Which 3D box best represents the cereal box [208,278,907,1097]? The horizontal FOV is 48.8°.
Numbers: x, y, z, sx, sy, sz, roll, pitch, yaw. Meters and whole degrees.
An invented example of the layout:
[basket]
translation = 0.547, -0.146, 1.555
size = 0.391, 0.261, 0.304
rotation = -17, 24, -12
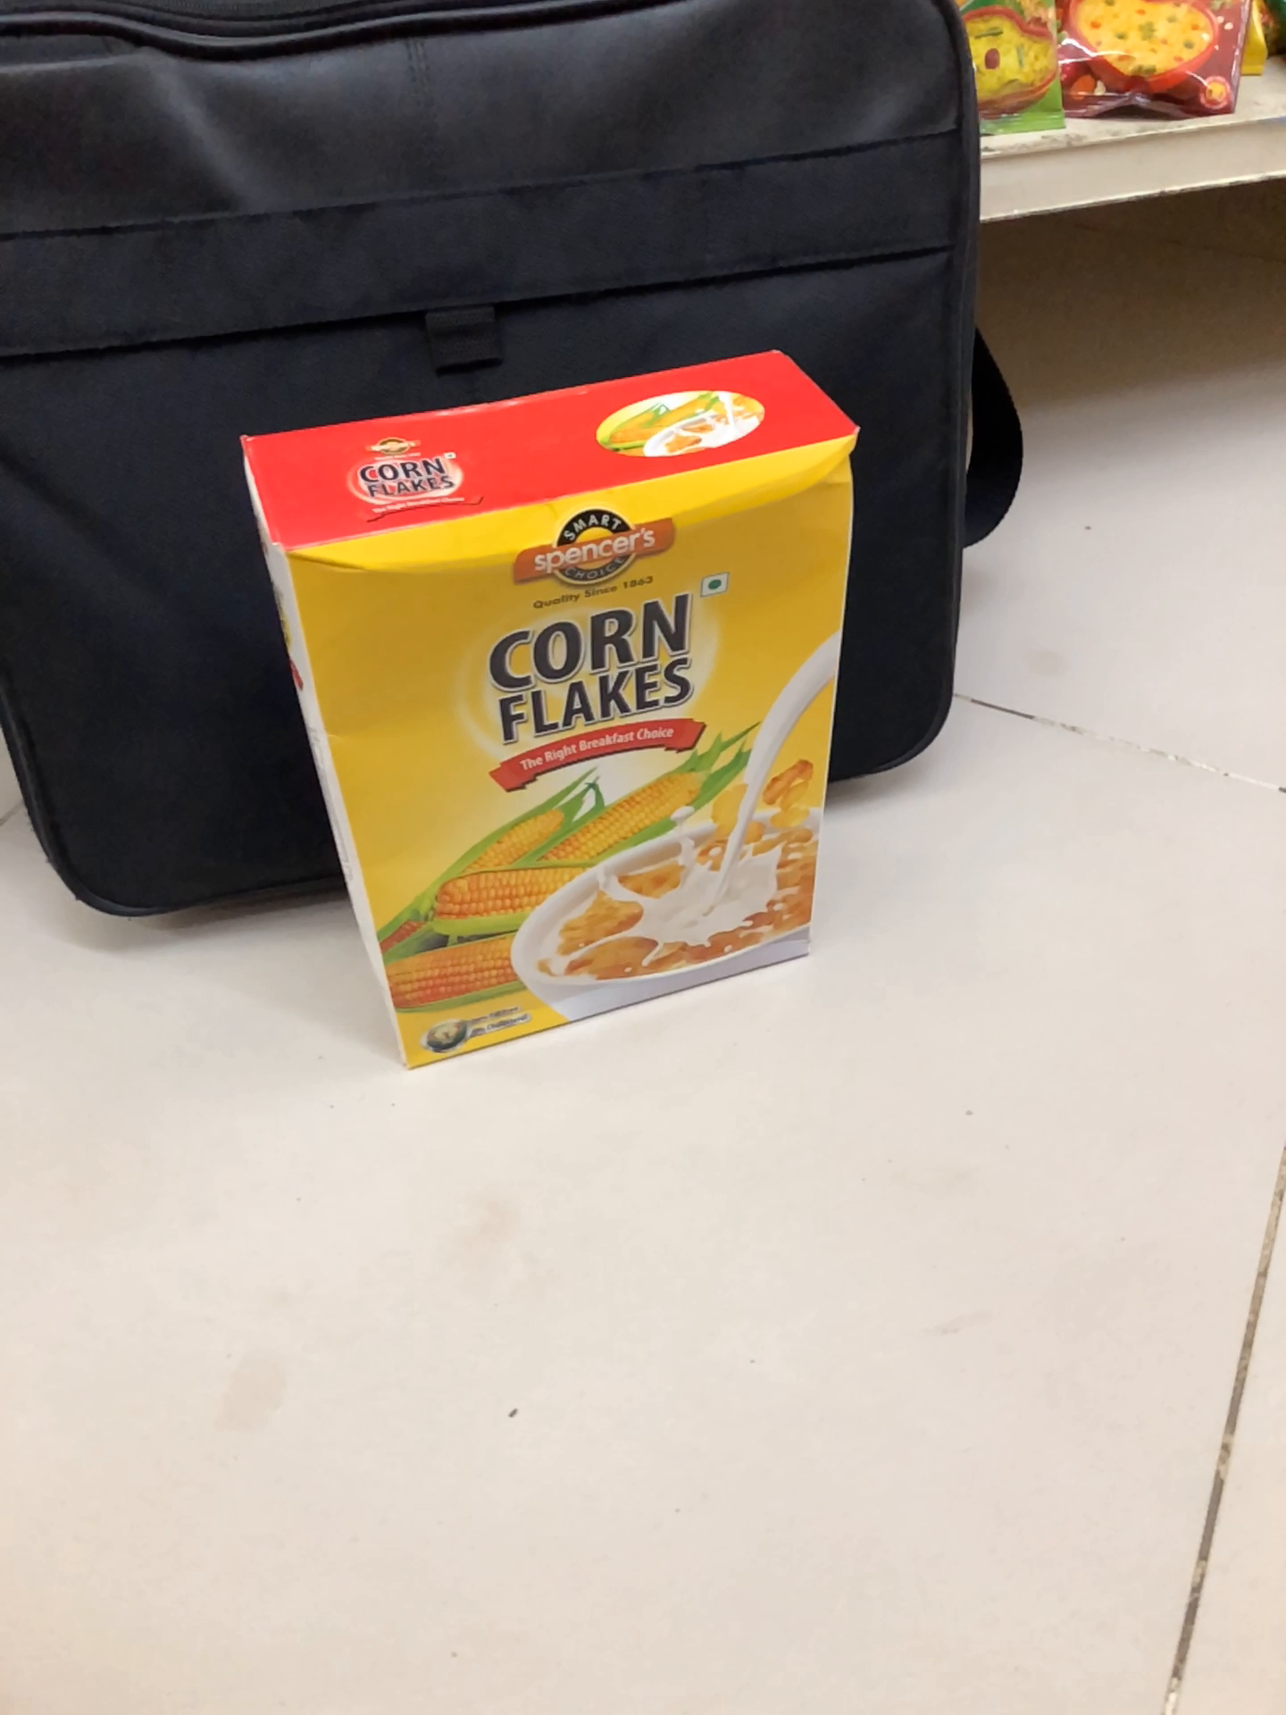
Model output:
[cereal box]
translation = -0.021, -0.045, 0.507
size = 0.190, 0.268, 0.070
rotation = -15, 48, -11
